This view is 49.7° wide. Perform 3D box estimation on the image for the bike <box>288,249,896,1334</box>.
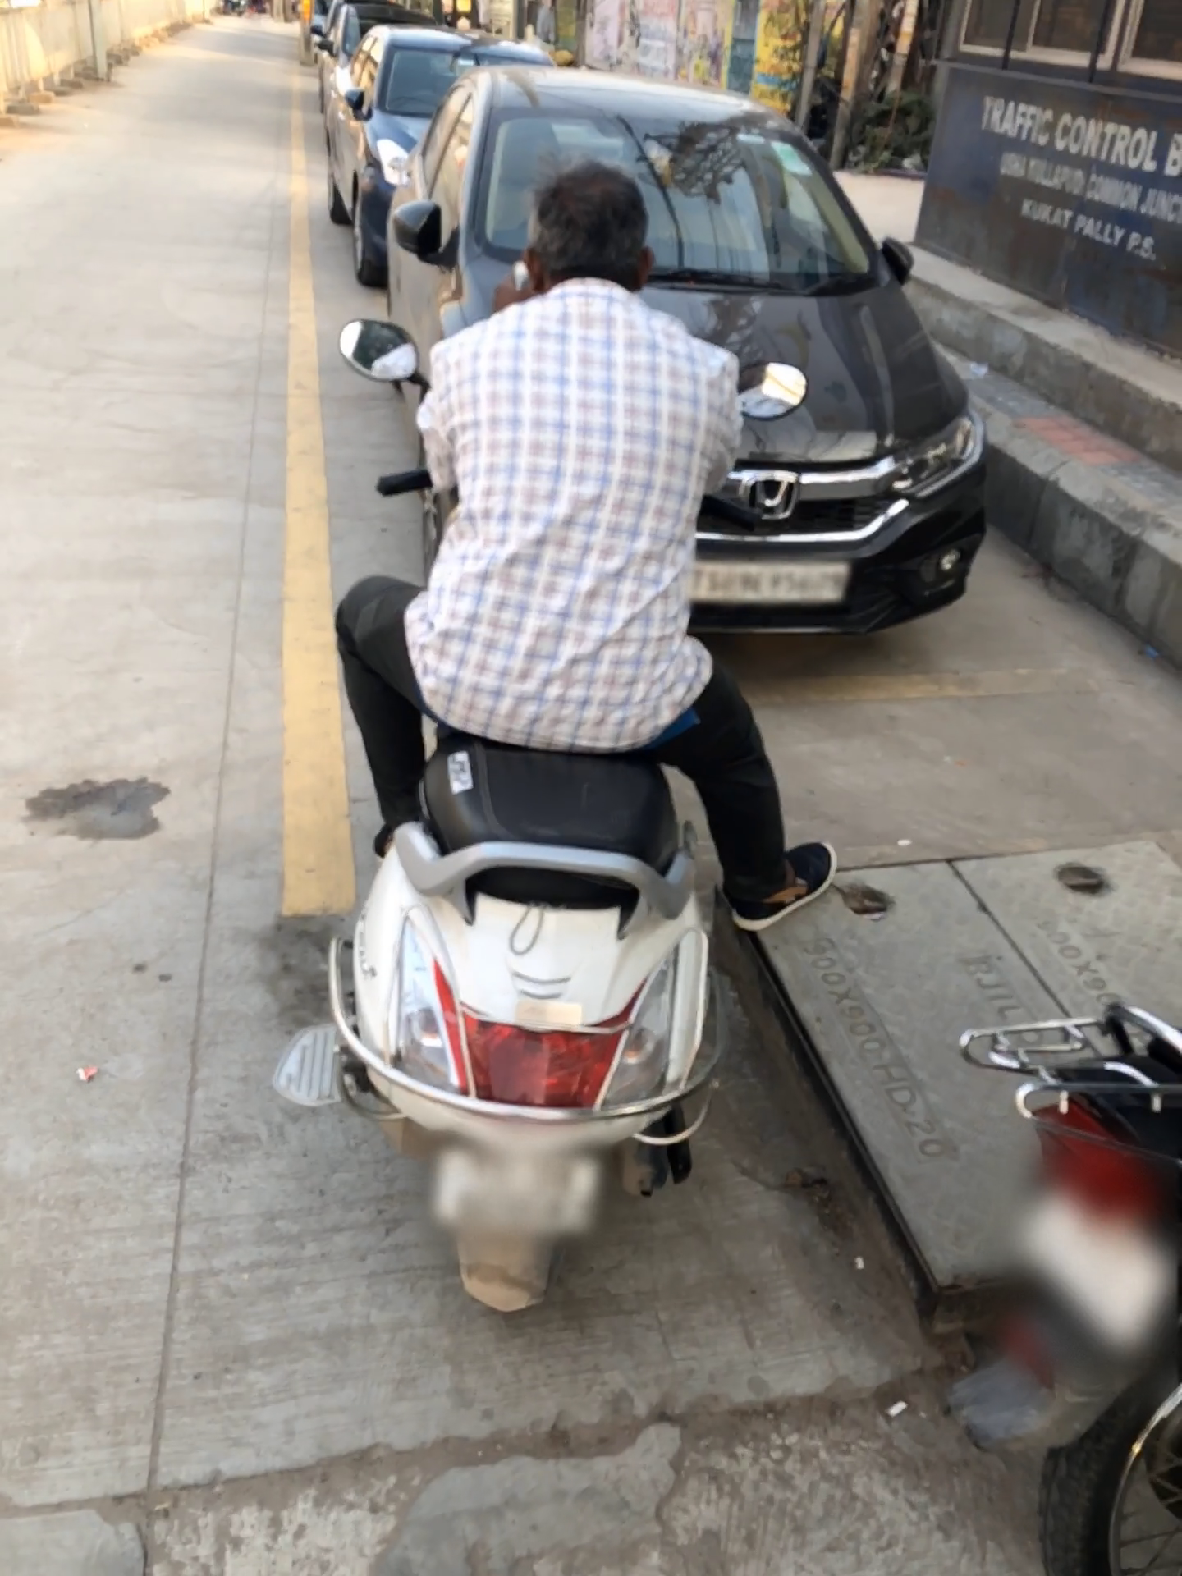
[{"bbox_3d":[-0.002,-0.146,2.165,0.640,0.858,1.609,3,39,-2],"label":"bike"}]
